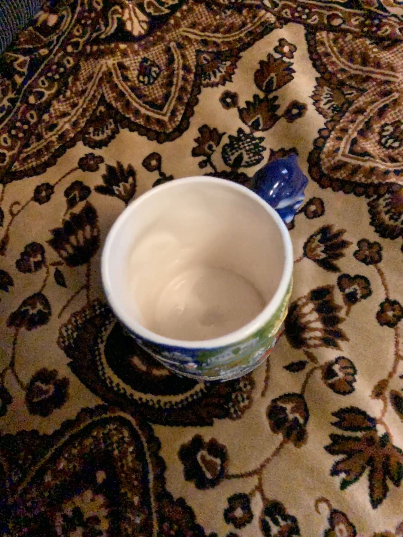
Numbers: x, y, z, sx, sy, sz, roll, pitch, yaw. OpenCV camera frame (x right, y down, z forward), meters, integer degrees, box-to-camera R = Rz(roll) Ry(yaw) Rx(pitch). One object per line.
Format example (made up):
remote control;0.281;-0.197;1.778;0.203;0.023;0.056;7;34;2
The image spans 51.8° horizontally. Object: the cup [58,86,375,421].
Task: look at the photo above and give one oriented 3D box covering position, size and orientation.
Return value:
cup;0.014;-0.002;0.235;0.083;0.106;0.137;29;72;15
